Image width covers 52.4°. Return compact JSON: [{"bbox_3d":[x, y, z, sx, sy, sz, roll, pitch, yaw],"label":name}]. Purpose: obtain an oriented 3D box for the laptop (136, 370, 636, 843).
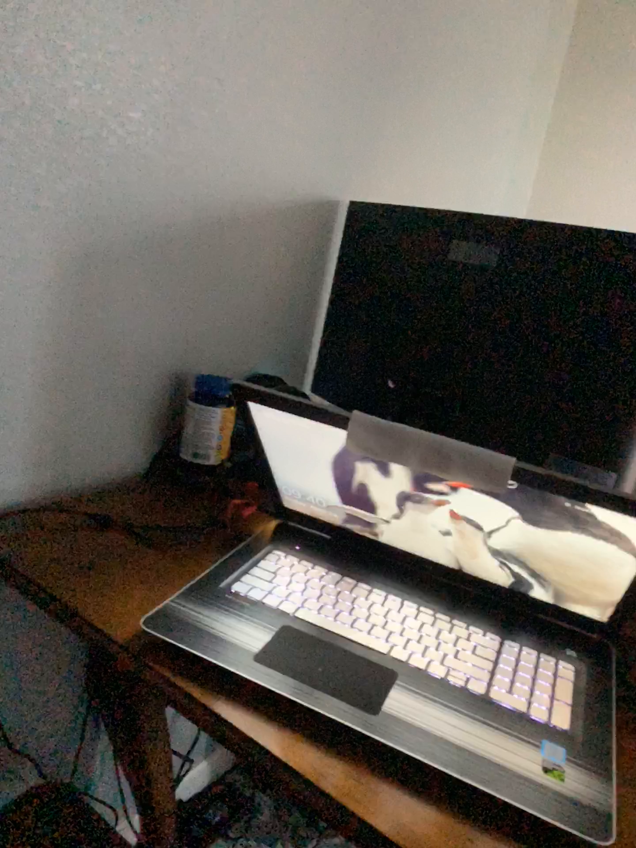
[{"bbox_3d":[0.088,0.109,0.590,0.393,0.187,0.258,17,18,20],"label":"laptop"}]
